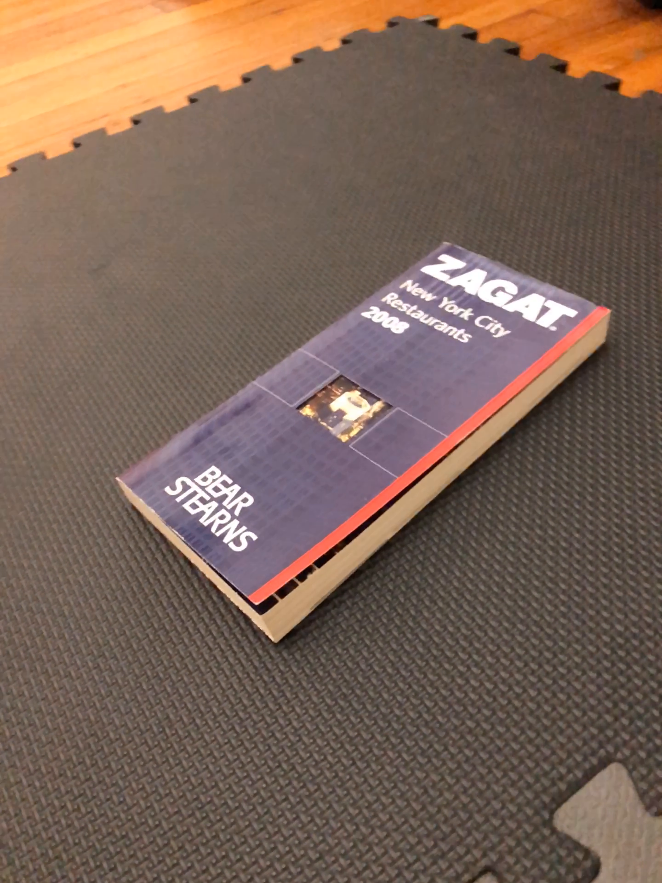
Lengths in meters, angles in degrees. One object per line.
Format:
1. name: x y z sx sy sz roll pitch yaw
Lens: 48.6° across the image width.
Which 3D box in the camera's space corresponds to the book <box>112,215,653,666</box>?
1. book: 0.028 -0.020 0.335 0.221 0.030 0.120 -39 53 -23
